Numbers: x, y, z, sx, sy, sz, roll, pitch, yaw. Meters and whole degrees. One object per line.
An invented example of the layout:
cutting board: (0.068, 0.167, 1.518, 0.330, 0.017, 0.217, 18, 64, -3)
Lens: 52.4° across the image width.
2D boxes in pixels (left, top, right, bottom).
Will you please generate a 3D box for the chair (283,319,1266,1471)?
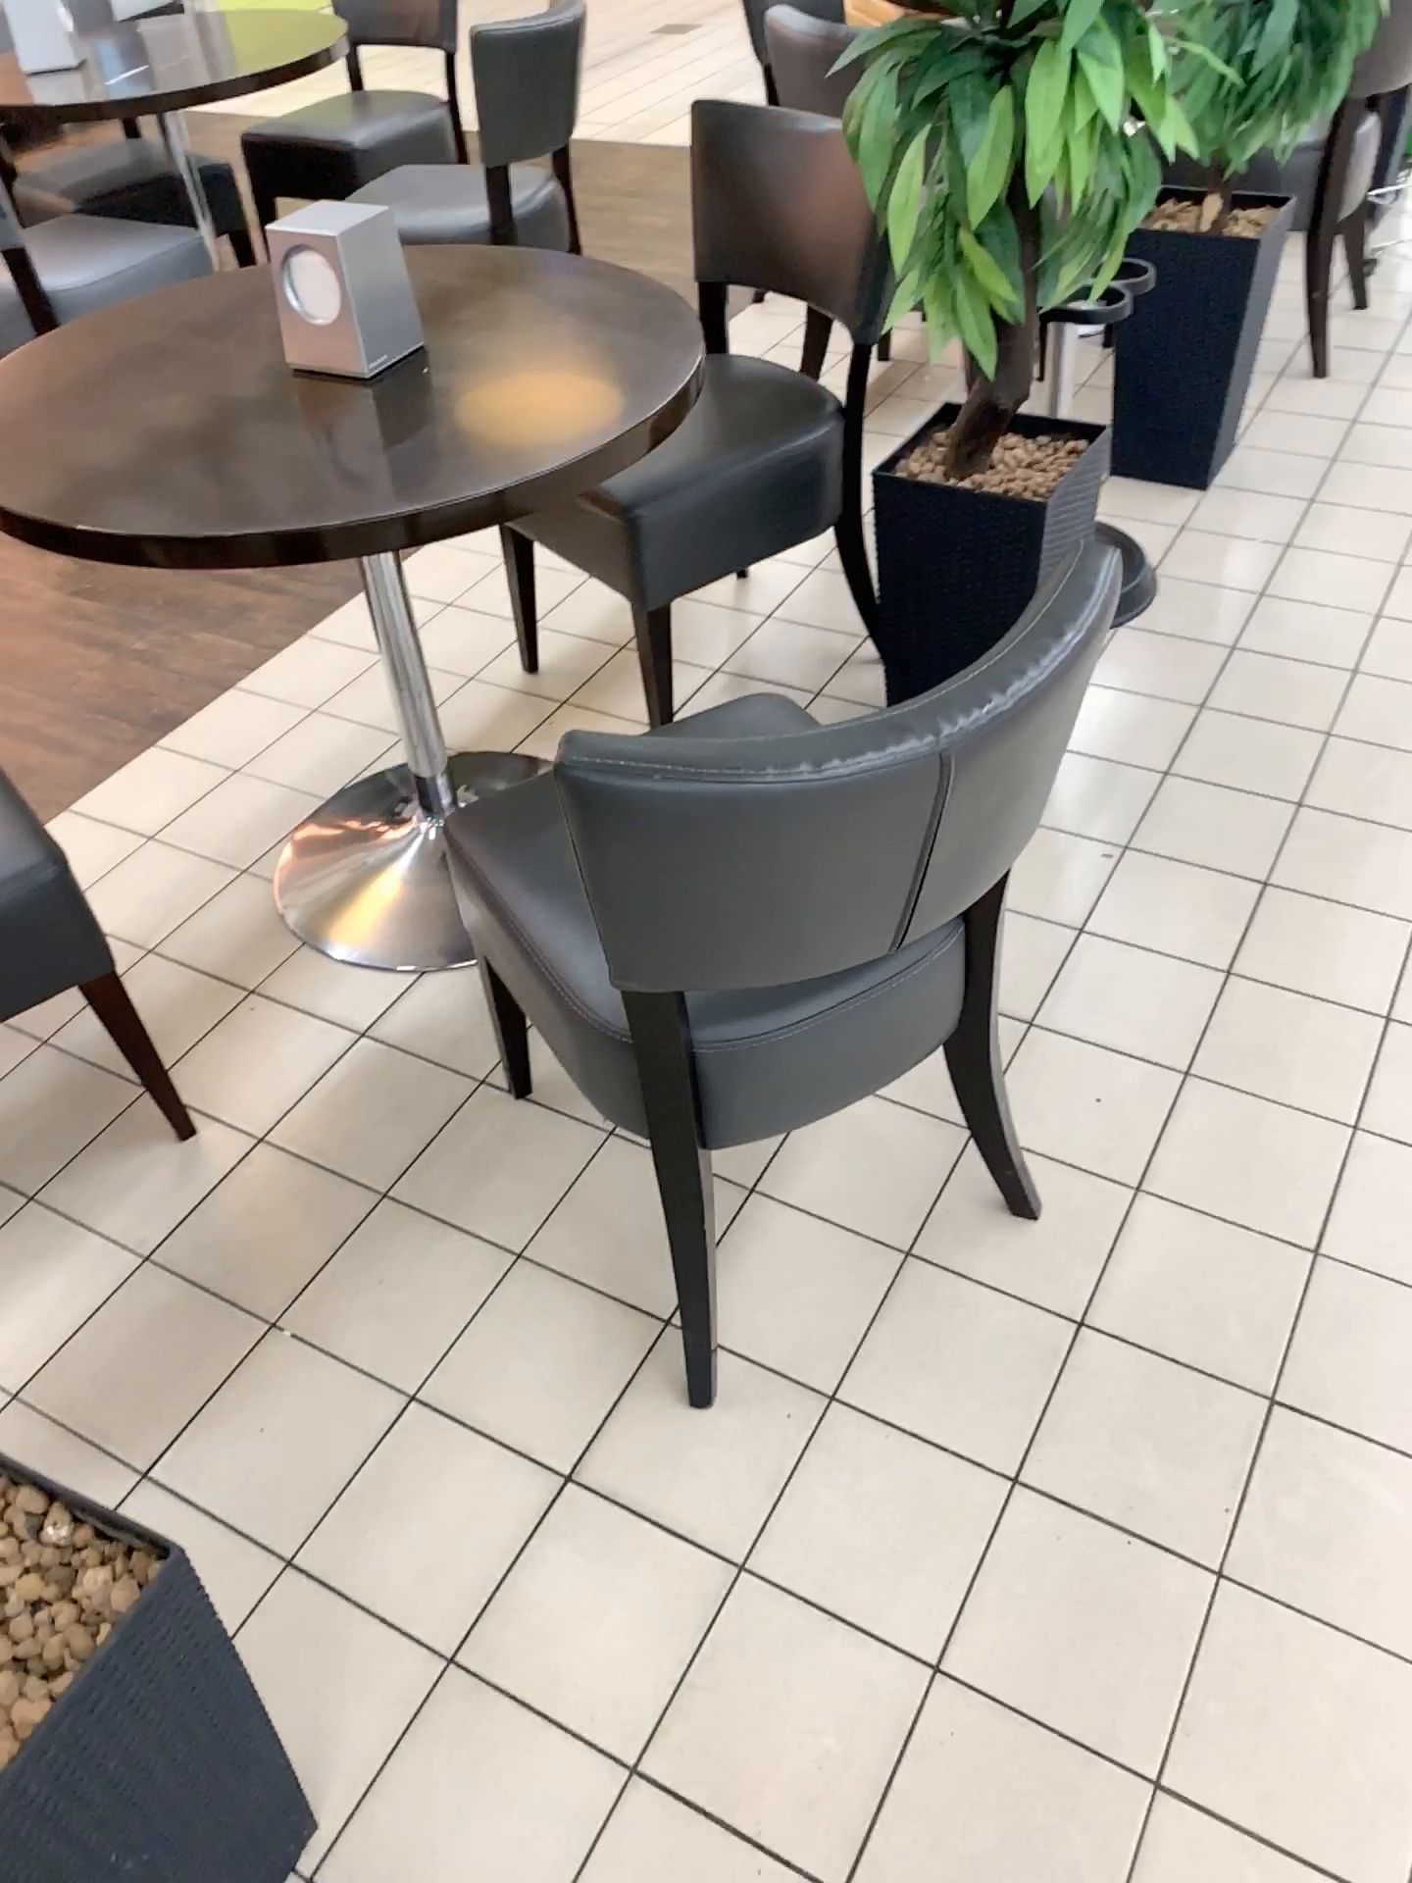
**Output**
chair: (0.042, -0.064, 1.436, 0.550, 0.796, 0.643, -23, 44, -19)
